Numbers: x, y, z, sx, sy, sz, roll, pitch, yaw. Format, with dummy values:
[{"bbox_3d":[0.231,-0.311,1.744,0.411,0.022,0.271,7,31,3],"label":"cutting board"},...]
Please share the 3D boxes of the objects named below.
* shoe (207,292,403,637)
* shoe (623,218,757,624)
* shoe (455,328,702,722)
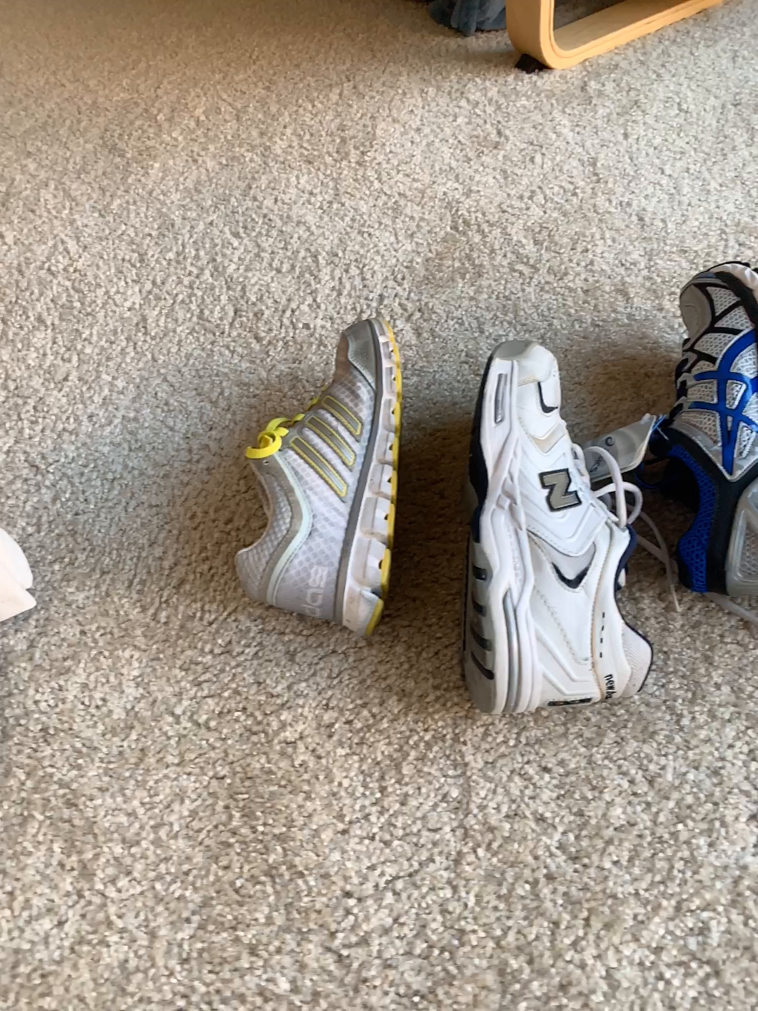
[{"bbox_3d":[-0.041,-0.036,0.576,0.110,0.119,0.231,1,54,3],"label":"shoe"},{"bbox_3d":[0.249,-0.068,0.522,0.130,0.070,0.281,1,60,6],"label":"shoe"},{"bbox_3d":[0.102,0.008,0.465,0.100,0.119,0.201,1,53,2],"label":"shoe"}]
